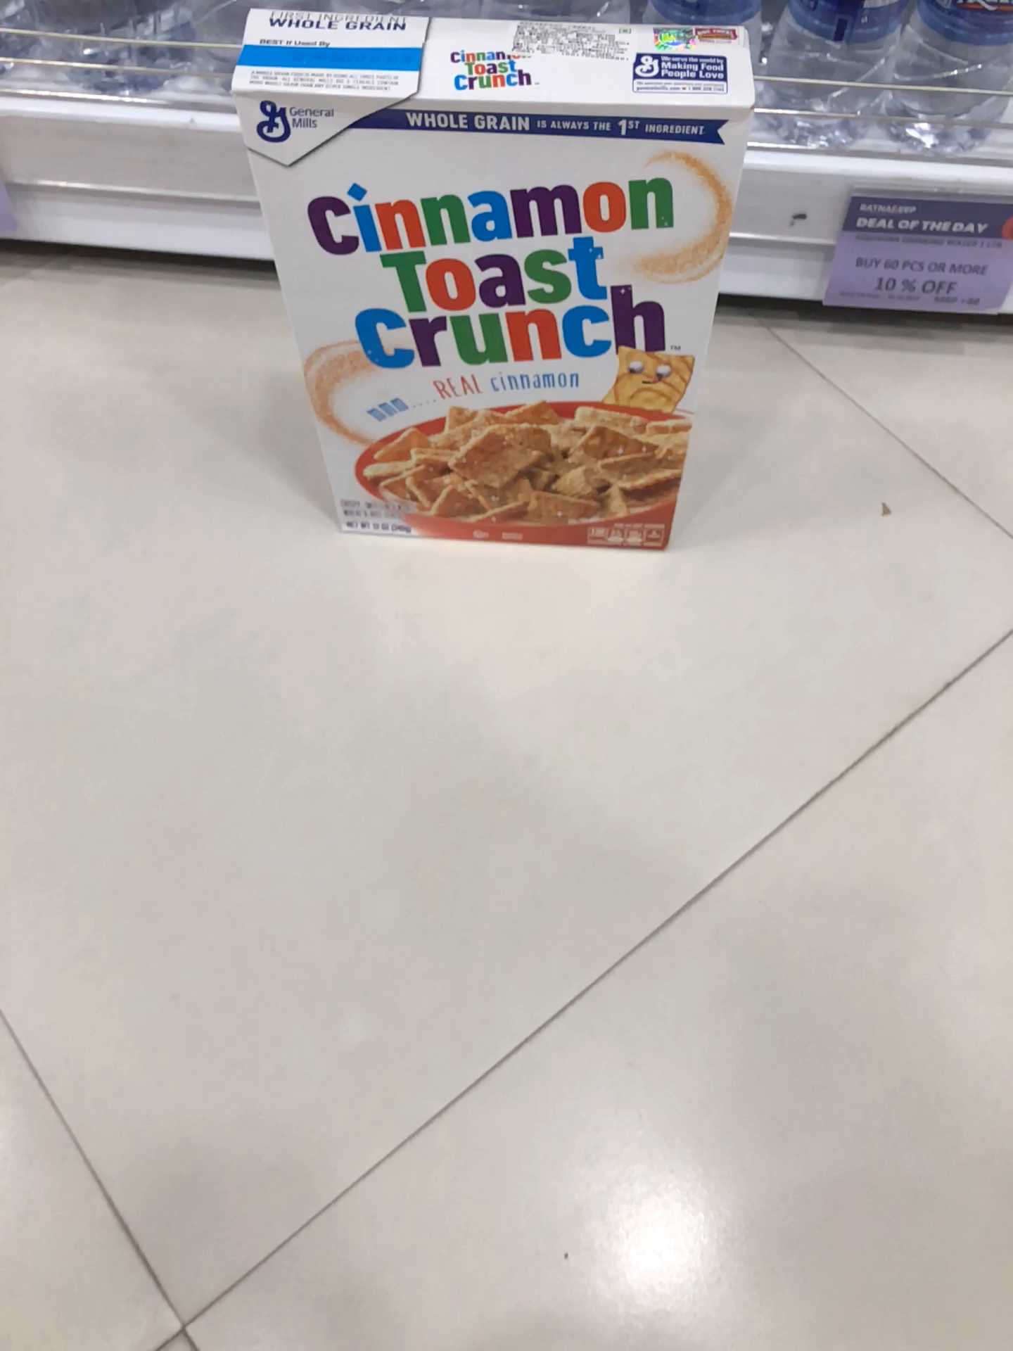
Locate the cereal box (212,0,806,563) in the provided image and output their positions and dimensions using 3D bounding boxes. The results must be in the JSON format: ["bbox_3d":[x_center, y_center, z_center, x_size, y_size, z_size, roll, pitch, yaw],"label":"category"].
[{"bbox_3d":[0.003,-0.155,0.515,0.200,0.279,0.060,3,65,2],"label":"cereal box"}]
